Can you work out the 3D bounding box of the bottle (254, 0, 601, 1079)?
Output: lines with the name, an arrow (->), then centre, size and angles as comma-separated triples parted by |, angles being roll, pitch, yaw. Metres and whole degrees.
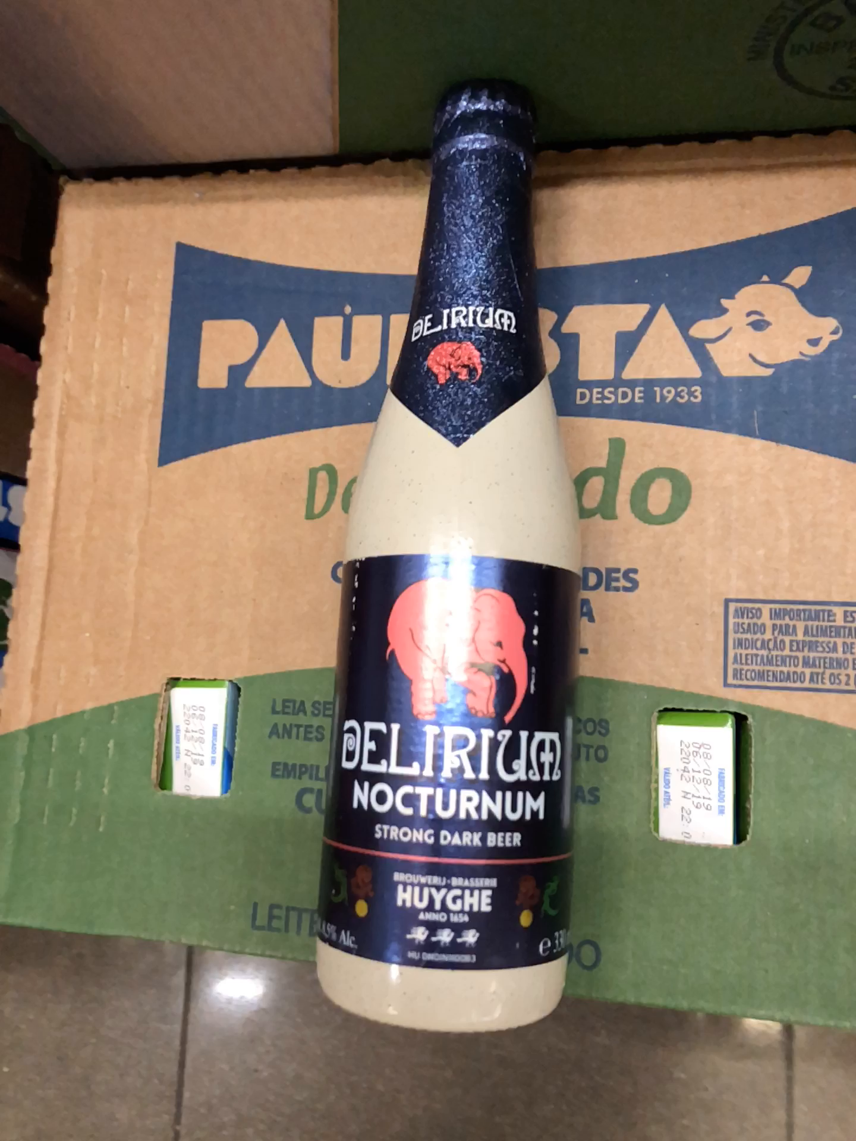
bottle -> 0.007, -0.024, 0.229 | 0.060, 0.050, 0.250 | 1, 81, 12
